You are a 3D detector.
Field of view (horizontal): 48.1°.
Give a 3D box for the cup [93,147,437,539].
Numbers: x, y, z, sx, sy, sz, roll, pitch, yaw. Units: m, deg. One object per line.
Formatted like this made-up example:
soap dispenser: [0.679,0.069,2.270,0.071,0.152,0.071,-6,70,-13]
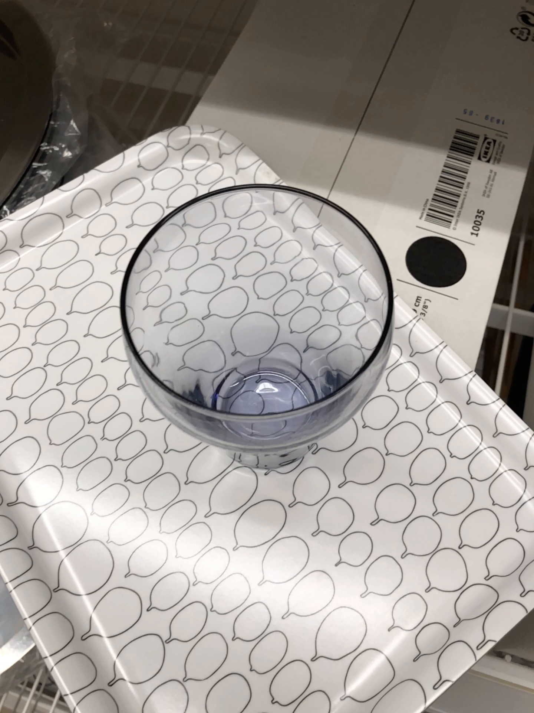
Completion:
cup: [-0.005,0.000,0.196,0.080,0.080,0.090,-9,62,-3]
